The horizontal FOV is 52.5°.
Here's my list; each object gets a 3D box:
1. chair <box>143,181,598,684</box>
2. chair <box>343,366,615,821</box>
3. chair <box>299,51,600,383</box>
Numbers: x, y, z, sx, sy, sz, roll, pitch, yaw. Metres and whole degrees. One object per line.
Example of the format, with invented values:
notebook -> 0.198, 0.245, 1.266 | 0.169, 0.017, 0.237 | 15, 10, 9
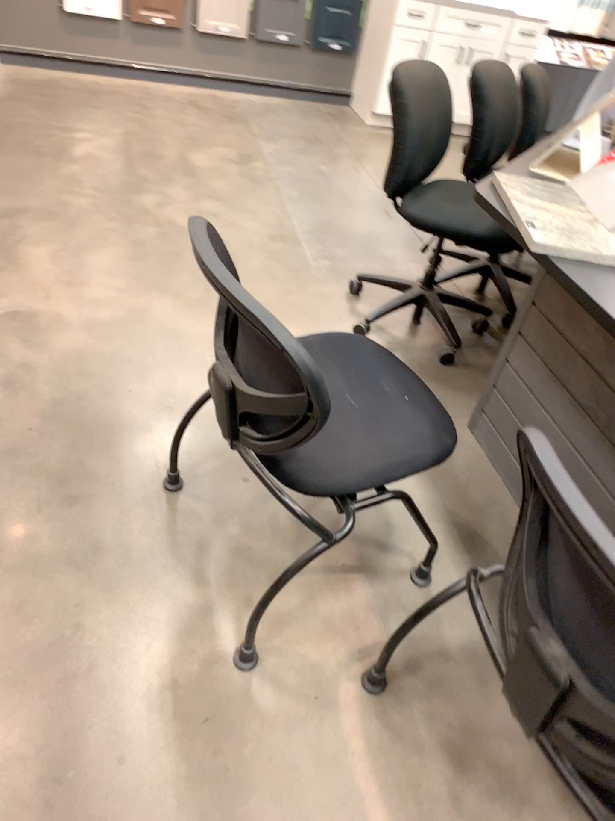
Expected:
chair -> 0.024, 0.012, 1.341 | 0.595, 0.777, 0.606 | -11, 44, -26
chair -> 0.489, 0.426, 0.954 | 0.584, 0.777, 0.597 | -2, 40, -17
chair -> 0.495, -0.749, 2.350 | 0.645, 0.886, 0.707 | 31, 44, 23
